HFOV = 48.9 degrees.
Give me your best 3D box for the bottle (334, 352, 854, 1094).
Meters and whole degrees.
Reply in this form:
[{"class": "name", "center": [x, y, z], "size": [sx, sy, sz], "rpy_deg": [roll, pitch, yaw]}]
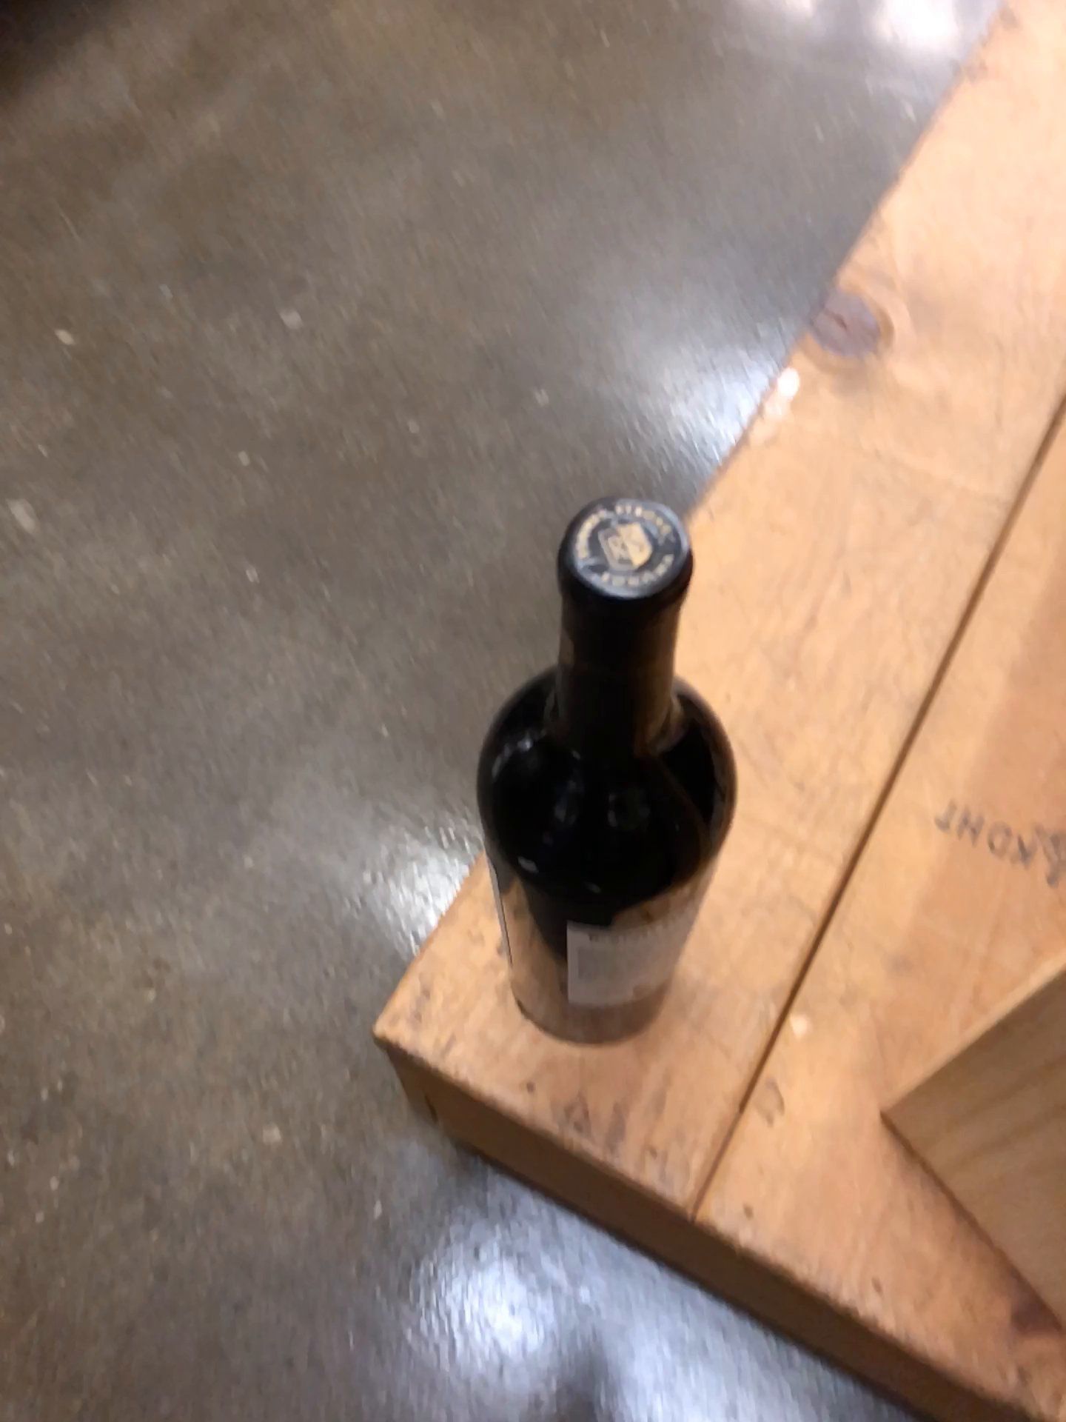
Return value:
[{"class": "bottle", "center": [0.018, 0.039, 0.376], "size": [0.080, 0.310, 0.070], "rpy_deg": [-35, 66, -15]}]
